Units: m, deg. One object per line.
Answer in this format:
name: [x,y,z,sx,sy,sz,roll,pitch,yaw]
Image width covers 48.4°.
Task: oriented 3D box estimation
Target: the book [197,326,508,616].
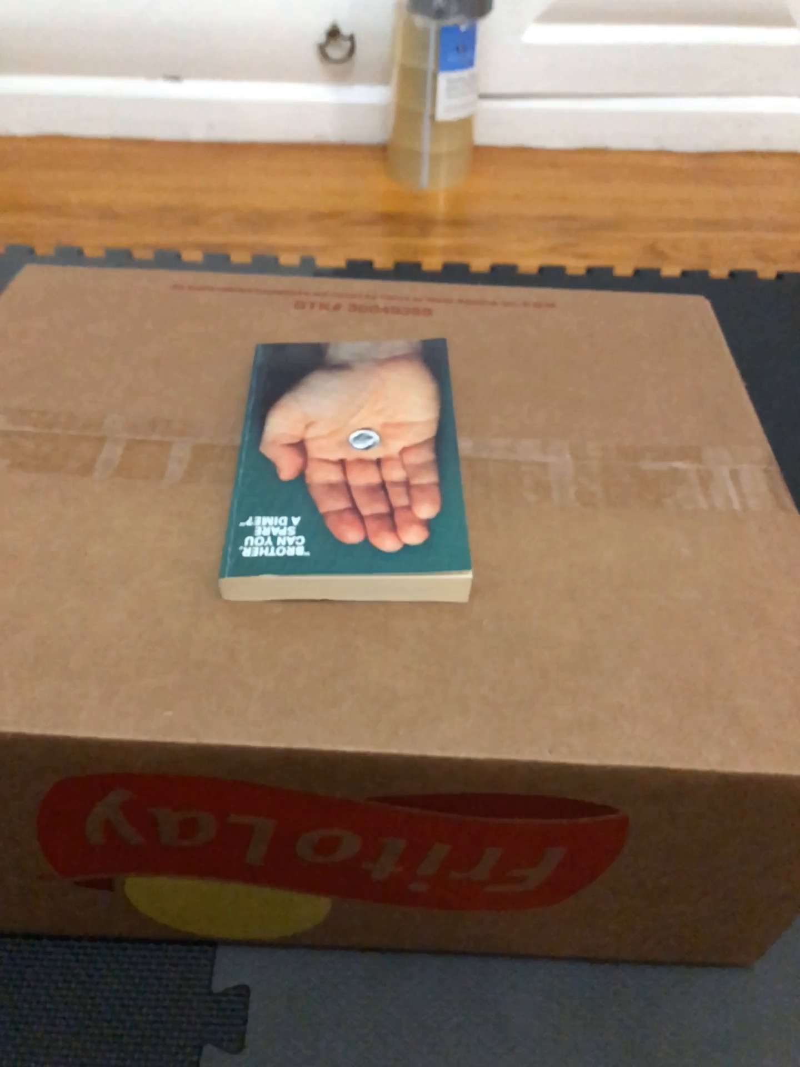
book: [-0.020,-0.038,0.414,0.120,0.020,0.181,0,45,-2]
